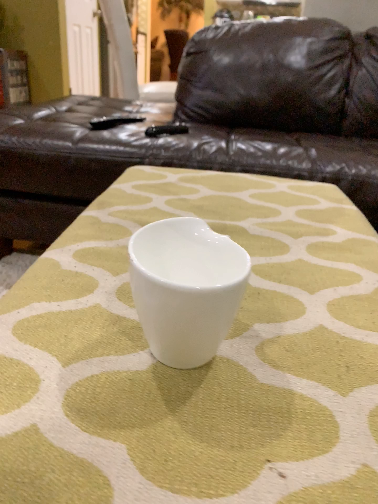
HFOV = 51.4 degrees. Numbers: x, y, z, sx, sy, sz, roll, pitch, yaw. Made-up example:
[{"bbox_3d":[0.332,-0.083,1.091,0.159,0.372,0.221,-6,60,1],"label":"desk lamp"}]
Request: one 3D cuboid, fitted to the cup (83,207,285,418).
[{"bbox_3d":[0.000,0.031,0.276,0.089,0.079,0.109,18,30,27],"label":"cup"}]
